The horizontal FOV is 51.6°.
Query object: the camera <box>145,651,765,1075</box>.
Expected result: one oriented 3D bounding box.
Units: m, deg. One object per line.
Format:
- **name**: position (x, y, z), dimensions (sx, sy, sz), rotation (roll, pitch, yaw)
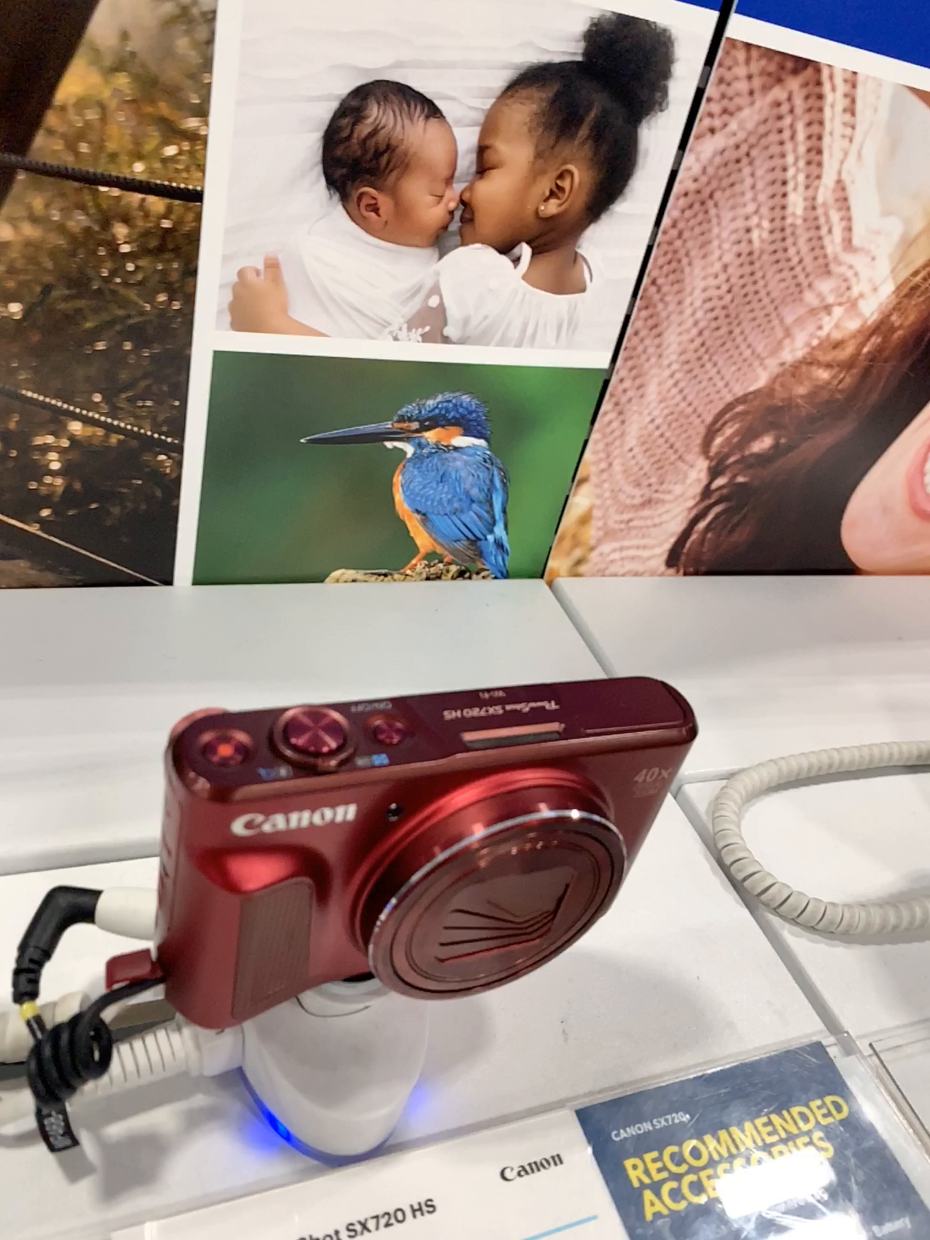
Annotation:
- **camera**: position (-0.004, 0.045, 0.196), dimensions (0.110, 0.060, 0.037), rotation (-3, 37, -26)
